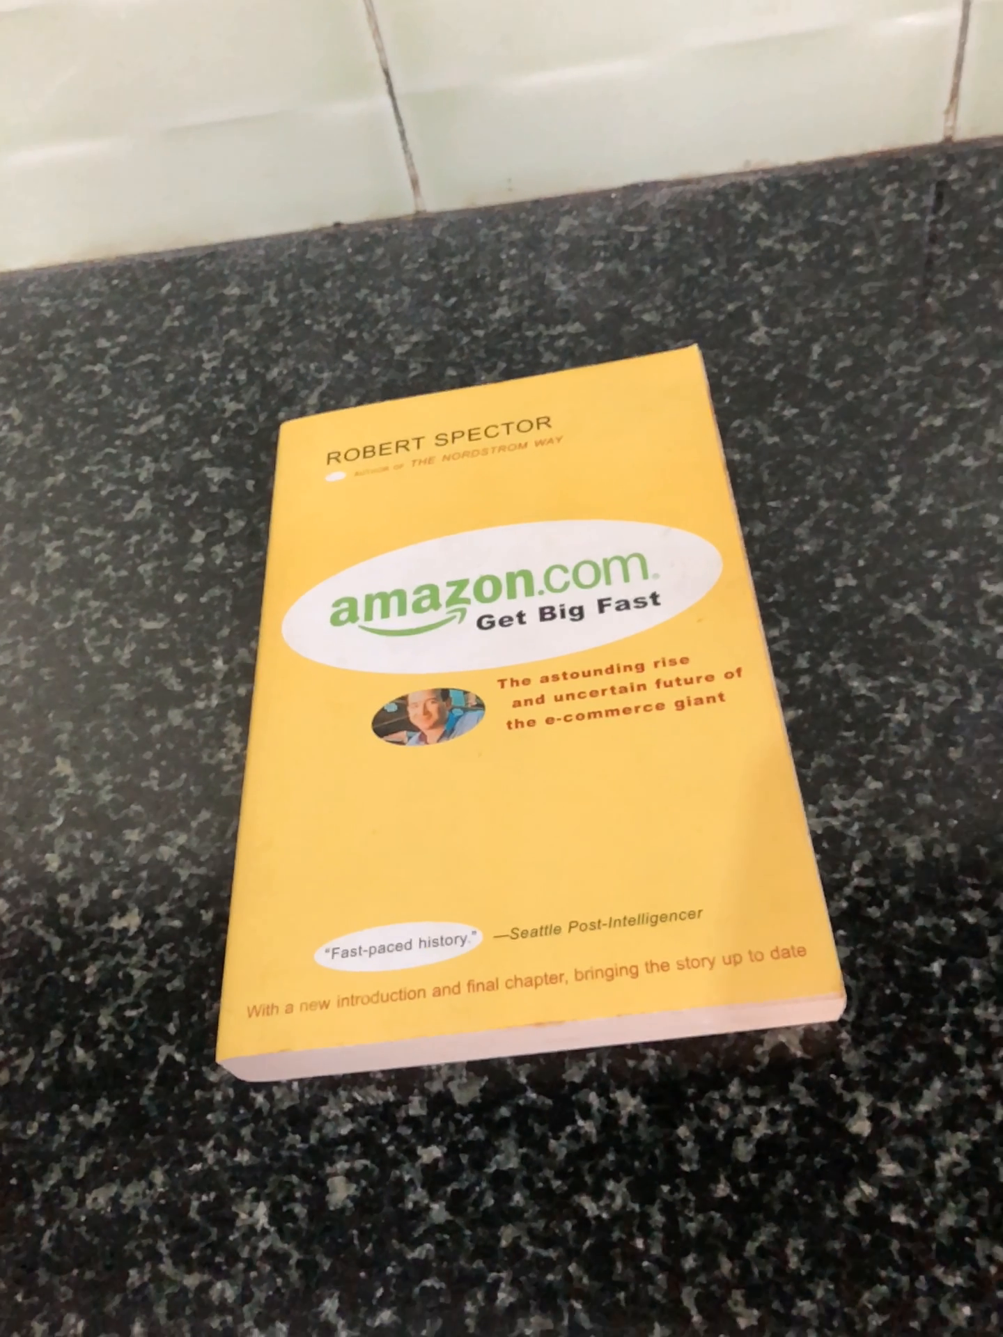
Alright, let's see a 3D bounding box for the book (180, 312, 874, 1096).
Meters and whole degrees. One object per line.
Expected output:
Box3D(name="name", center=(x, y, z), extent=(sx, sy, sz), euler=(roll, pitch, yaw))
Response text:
Box3D(name="book", center=(0.001, -0.005, 0.298), extent=(0.140, 0.030, 0.211), euler=(-8, 54, 6))
